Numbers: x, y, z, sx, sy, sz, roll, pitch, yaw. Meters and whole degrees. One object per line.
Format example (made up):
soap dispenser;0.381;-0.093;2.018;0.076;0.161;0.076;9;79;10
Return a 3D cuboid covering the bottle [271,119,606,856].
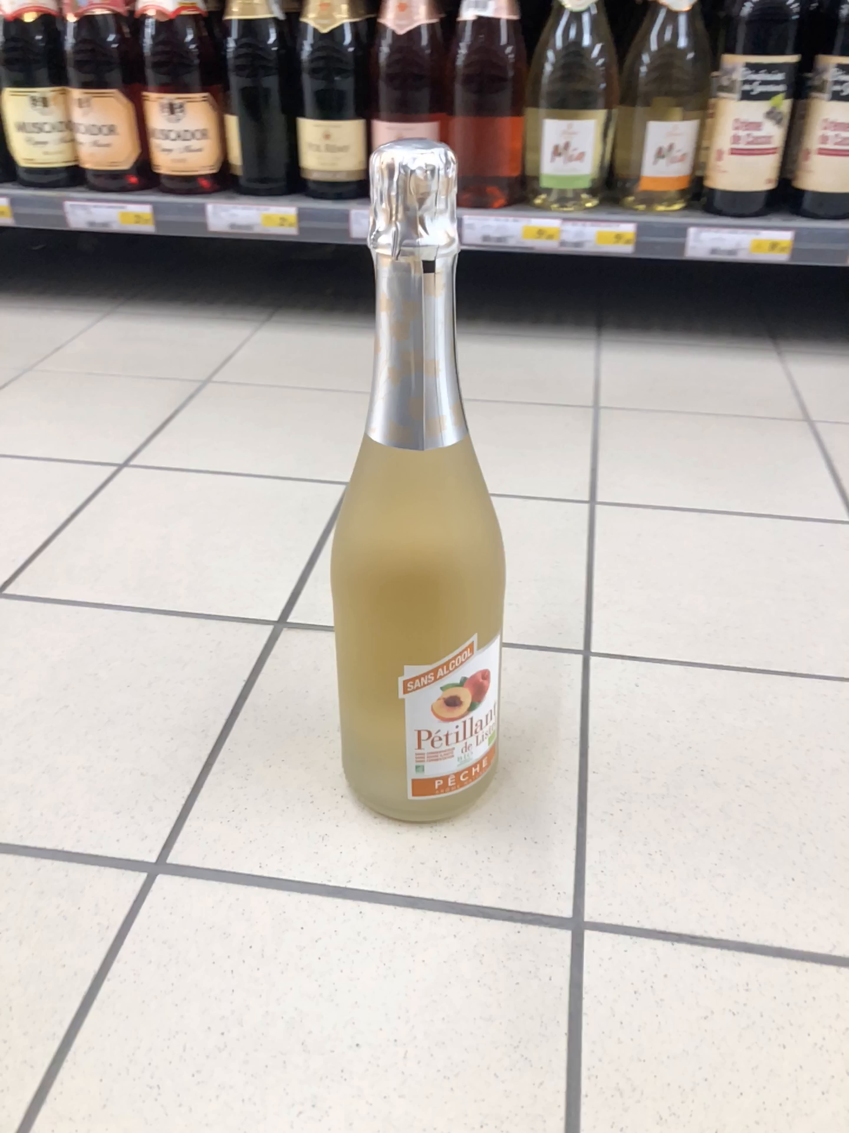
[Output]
bottle;0.002;-0.025;0.423;0.090;0.308;0.090;0;31;0
